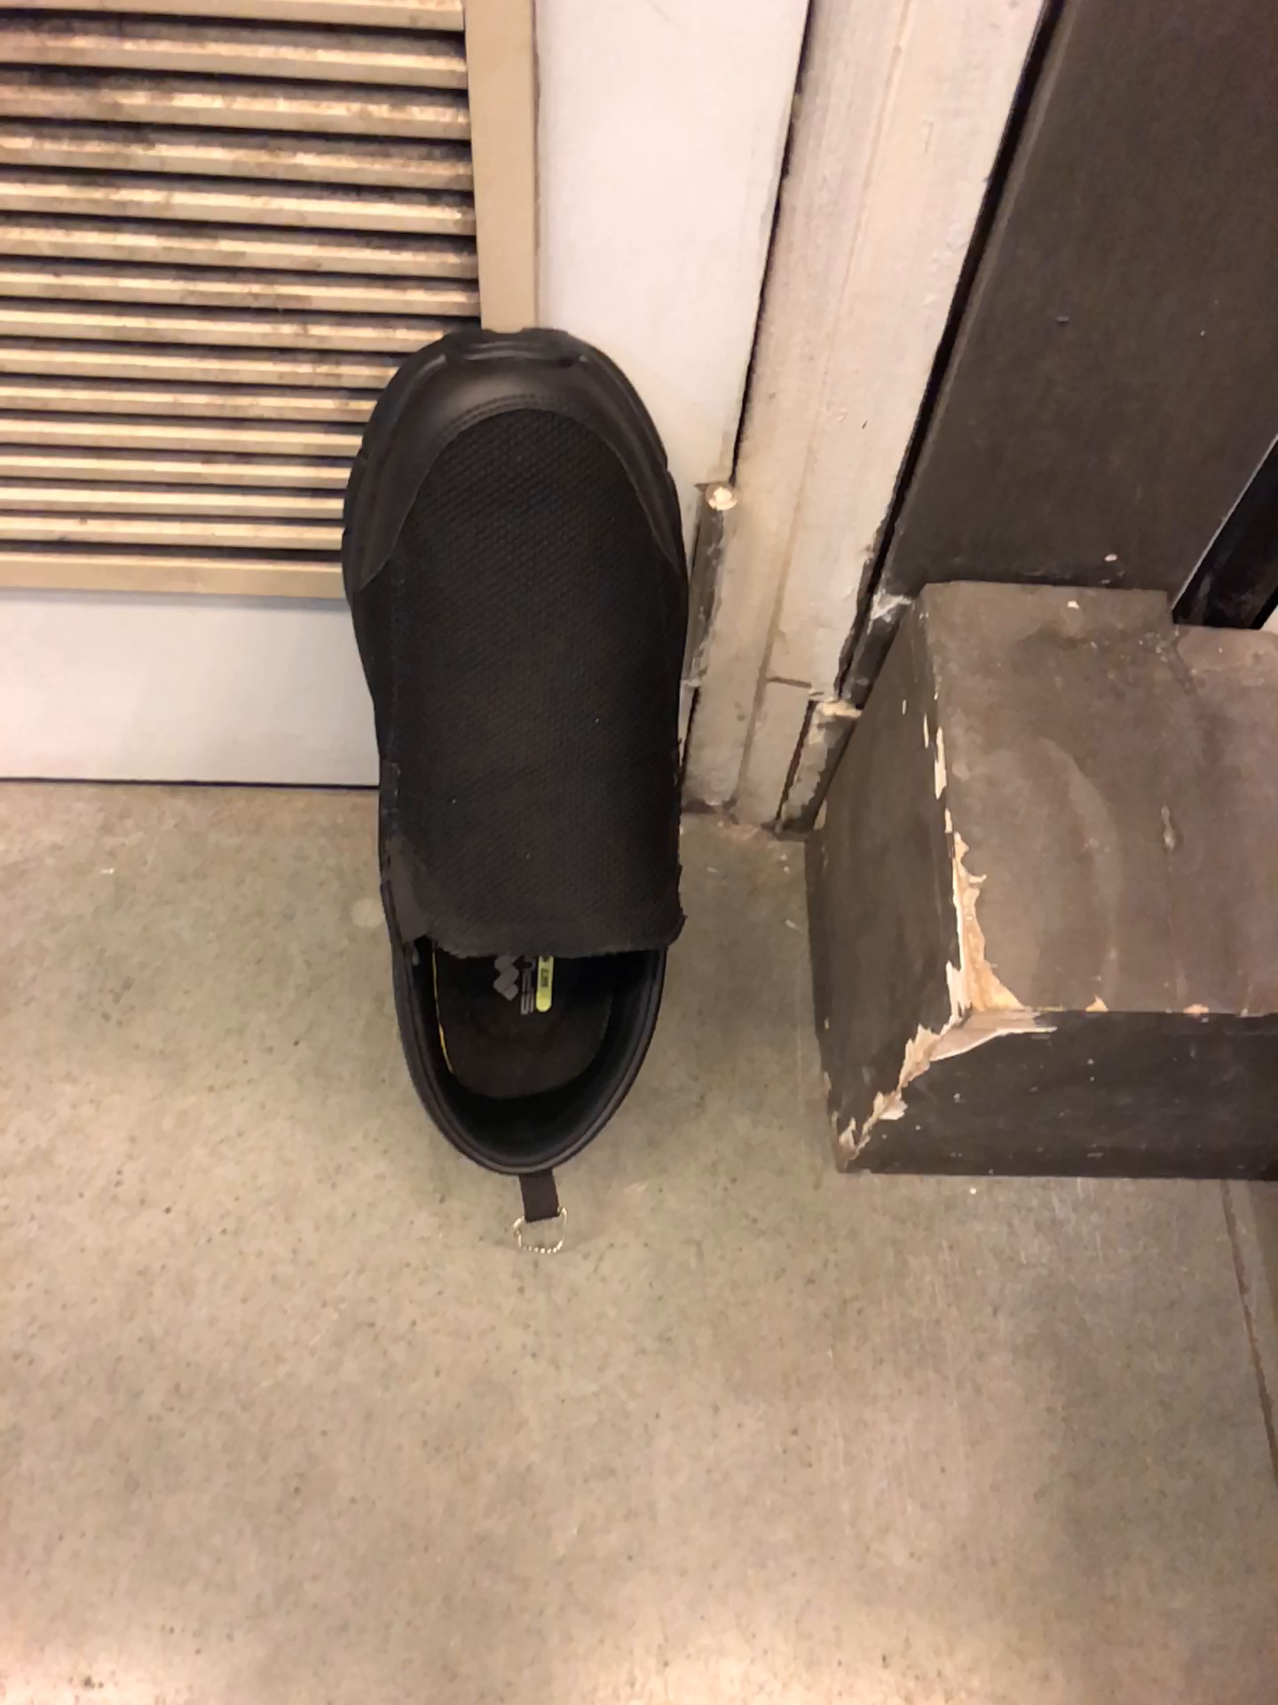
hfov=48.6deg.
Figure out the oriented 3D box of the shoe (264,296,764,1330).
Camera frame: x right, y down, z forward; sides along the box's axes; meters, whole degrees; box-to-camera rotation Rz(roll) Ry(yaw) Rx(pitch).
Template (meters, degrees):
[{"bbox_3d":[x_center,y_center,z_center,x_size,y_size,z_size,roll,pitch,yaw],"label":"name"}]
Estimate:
[{"bbox_3d":[-0.034,-0.009,0.442,0.111,0.291,0.128,-3,29,-6],"label":"shoe"}]
